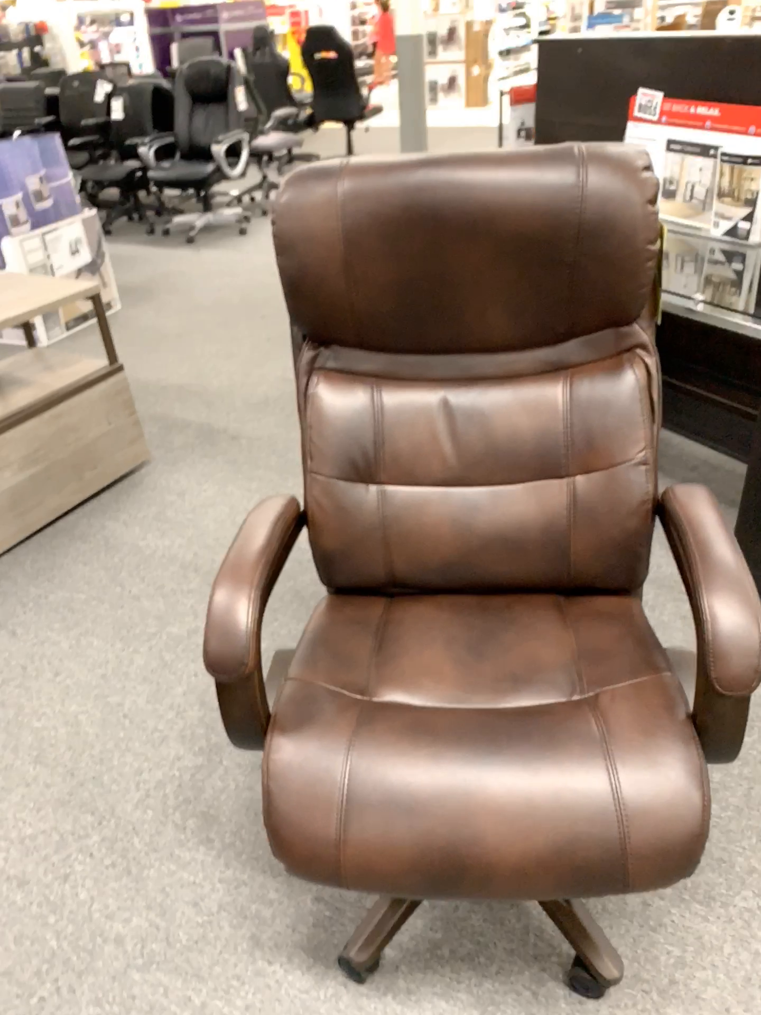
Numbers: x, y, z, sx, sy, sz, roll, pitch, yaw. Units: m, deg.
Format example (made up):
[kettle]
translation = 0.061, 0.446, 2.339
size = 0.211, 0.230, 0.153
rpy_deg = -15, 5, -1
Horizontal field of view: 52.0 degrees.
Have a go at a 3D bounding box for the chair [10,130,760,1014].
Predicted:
[chair]
translation = 0.128, 0.113, 1.155
size = 0.710, 1.094, 0.704
rpy_deg = -1, 32, 6
